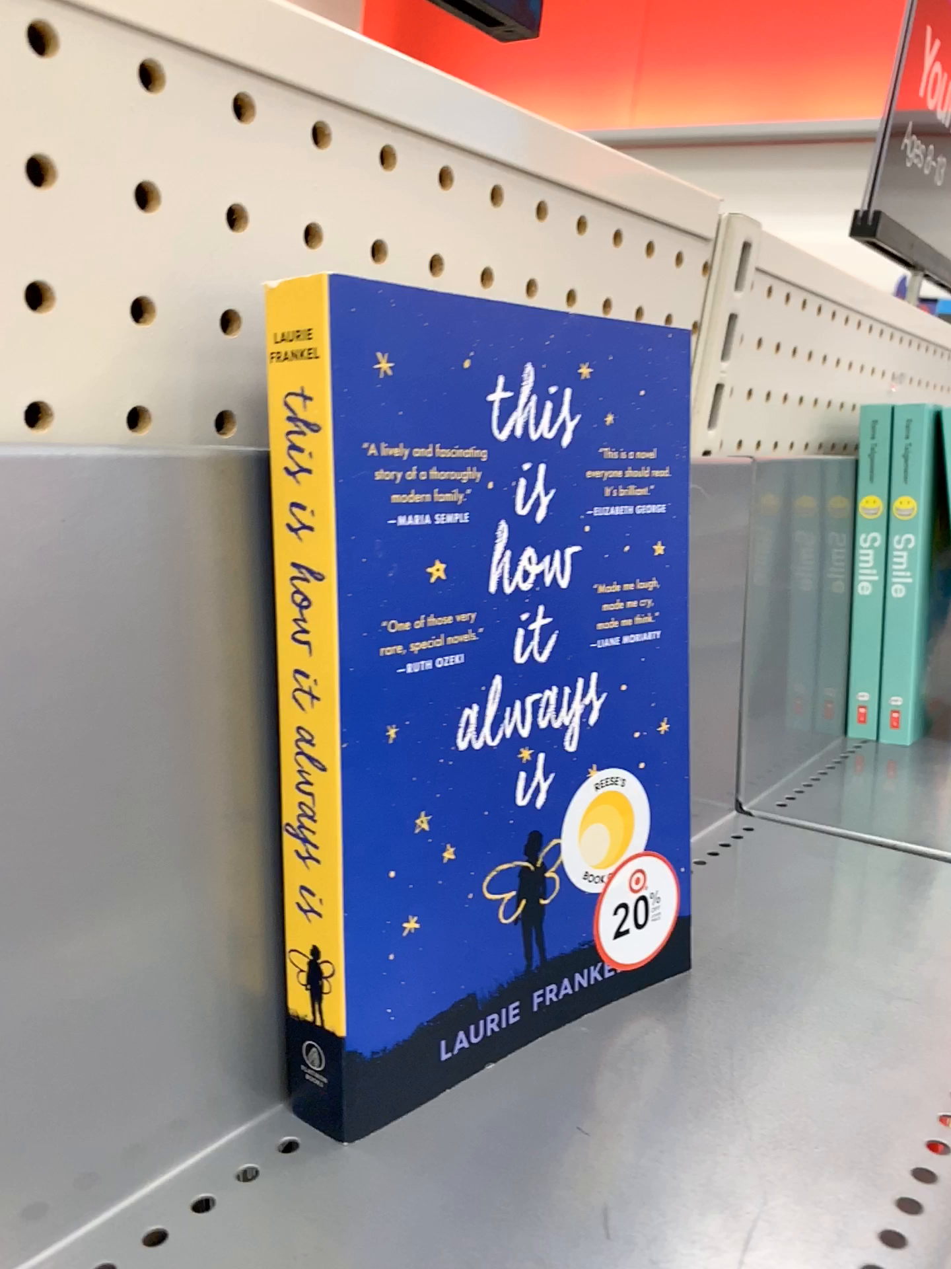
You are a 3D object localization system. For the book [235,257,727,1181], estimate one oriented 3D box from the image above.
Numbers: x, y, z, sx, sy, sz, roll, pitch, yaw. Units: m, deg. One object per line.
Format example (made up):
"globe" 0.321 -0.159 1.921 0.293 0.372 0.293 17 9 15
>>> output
"book" 0.007 0.016 0.281 0.140 0.209 0.044 -6 11 -42
